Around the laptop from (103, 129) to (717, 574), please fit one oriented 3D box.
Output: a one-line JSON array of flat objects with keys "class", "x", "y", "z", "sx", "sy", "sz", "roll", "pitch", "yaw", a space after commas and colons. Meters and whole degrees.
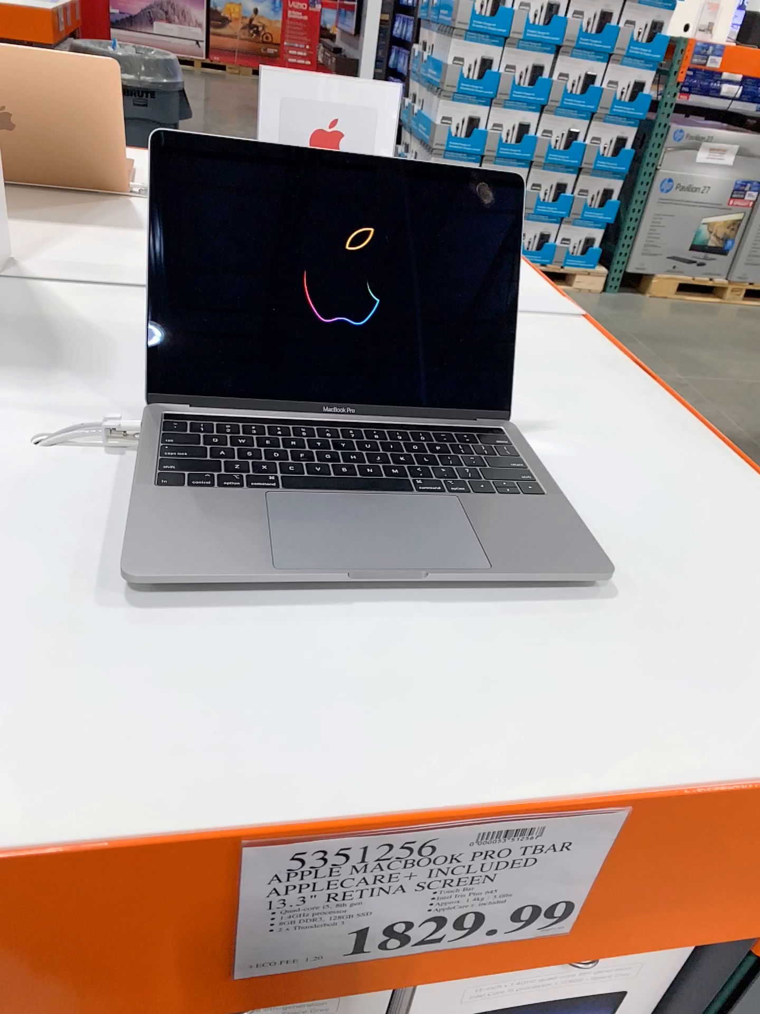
[{"class": "laptop", "x": -0.011, "y": -0.119, "z": 0.522, "sx": 0.289, "sy": 0.165, "sz": 0.308, "roll": 1, "pitch": 34, "yaw": -13}]
